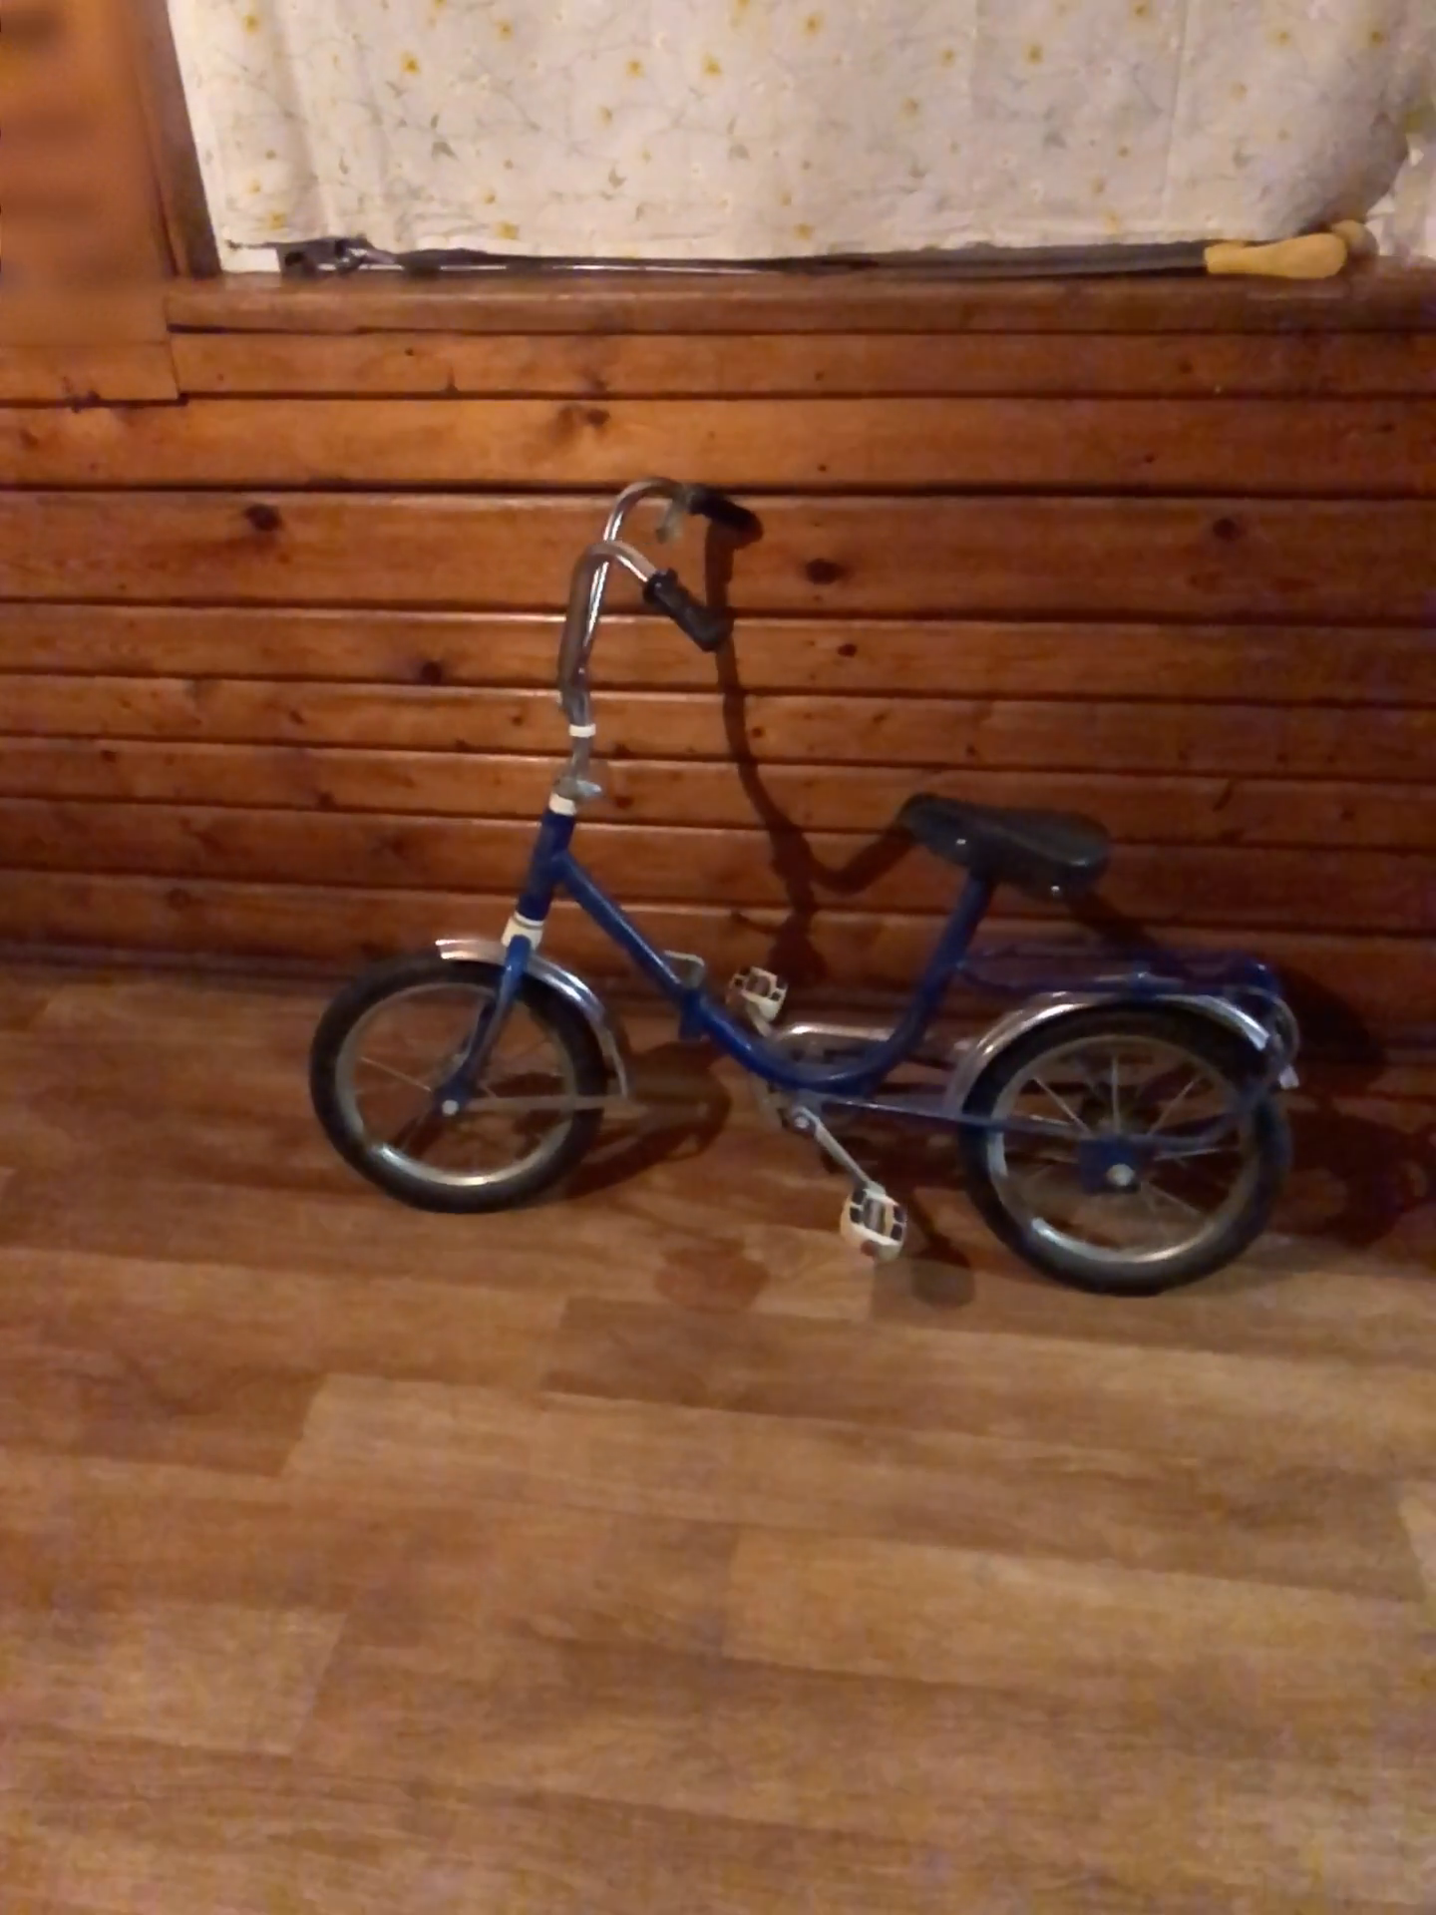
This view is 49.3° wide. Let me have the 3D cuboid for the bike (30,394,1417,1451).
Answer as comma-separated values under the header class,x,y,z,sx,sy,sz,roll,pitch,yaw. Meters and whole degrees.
class,x,y,z,sx,sy,sz,roll,pitch,yaw
bike,0.063,-0.070,1.495,0.956,0.697,0.597,6,34,9
